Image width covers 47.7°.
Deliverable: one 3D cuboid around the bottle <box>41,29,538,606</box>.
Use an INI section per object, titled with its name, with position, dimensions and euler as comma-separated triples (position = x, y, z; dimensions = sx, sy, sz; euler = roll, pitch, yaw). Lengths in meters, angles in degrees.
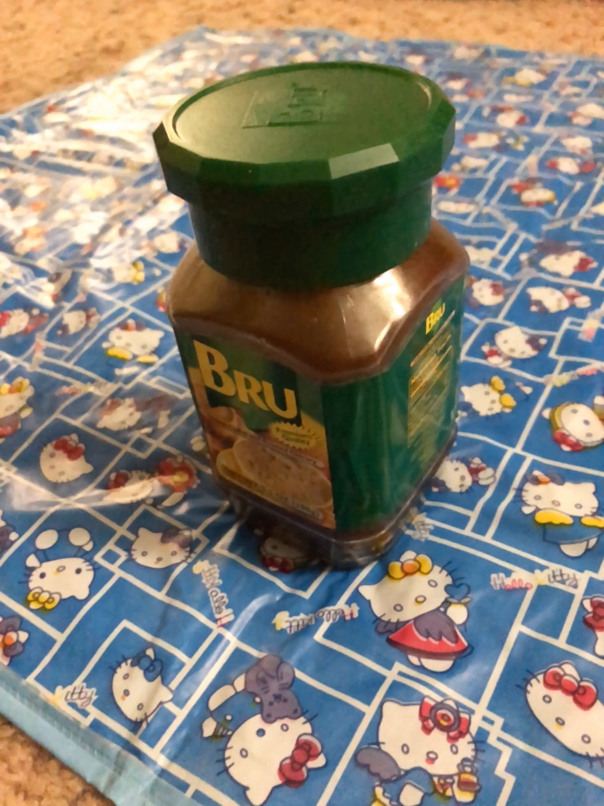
[bottle]
position = 0.004, -0.023, 0.185
dimensions = 0.080, 0.120, 0.070
euler = 22, 51, 29
